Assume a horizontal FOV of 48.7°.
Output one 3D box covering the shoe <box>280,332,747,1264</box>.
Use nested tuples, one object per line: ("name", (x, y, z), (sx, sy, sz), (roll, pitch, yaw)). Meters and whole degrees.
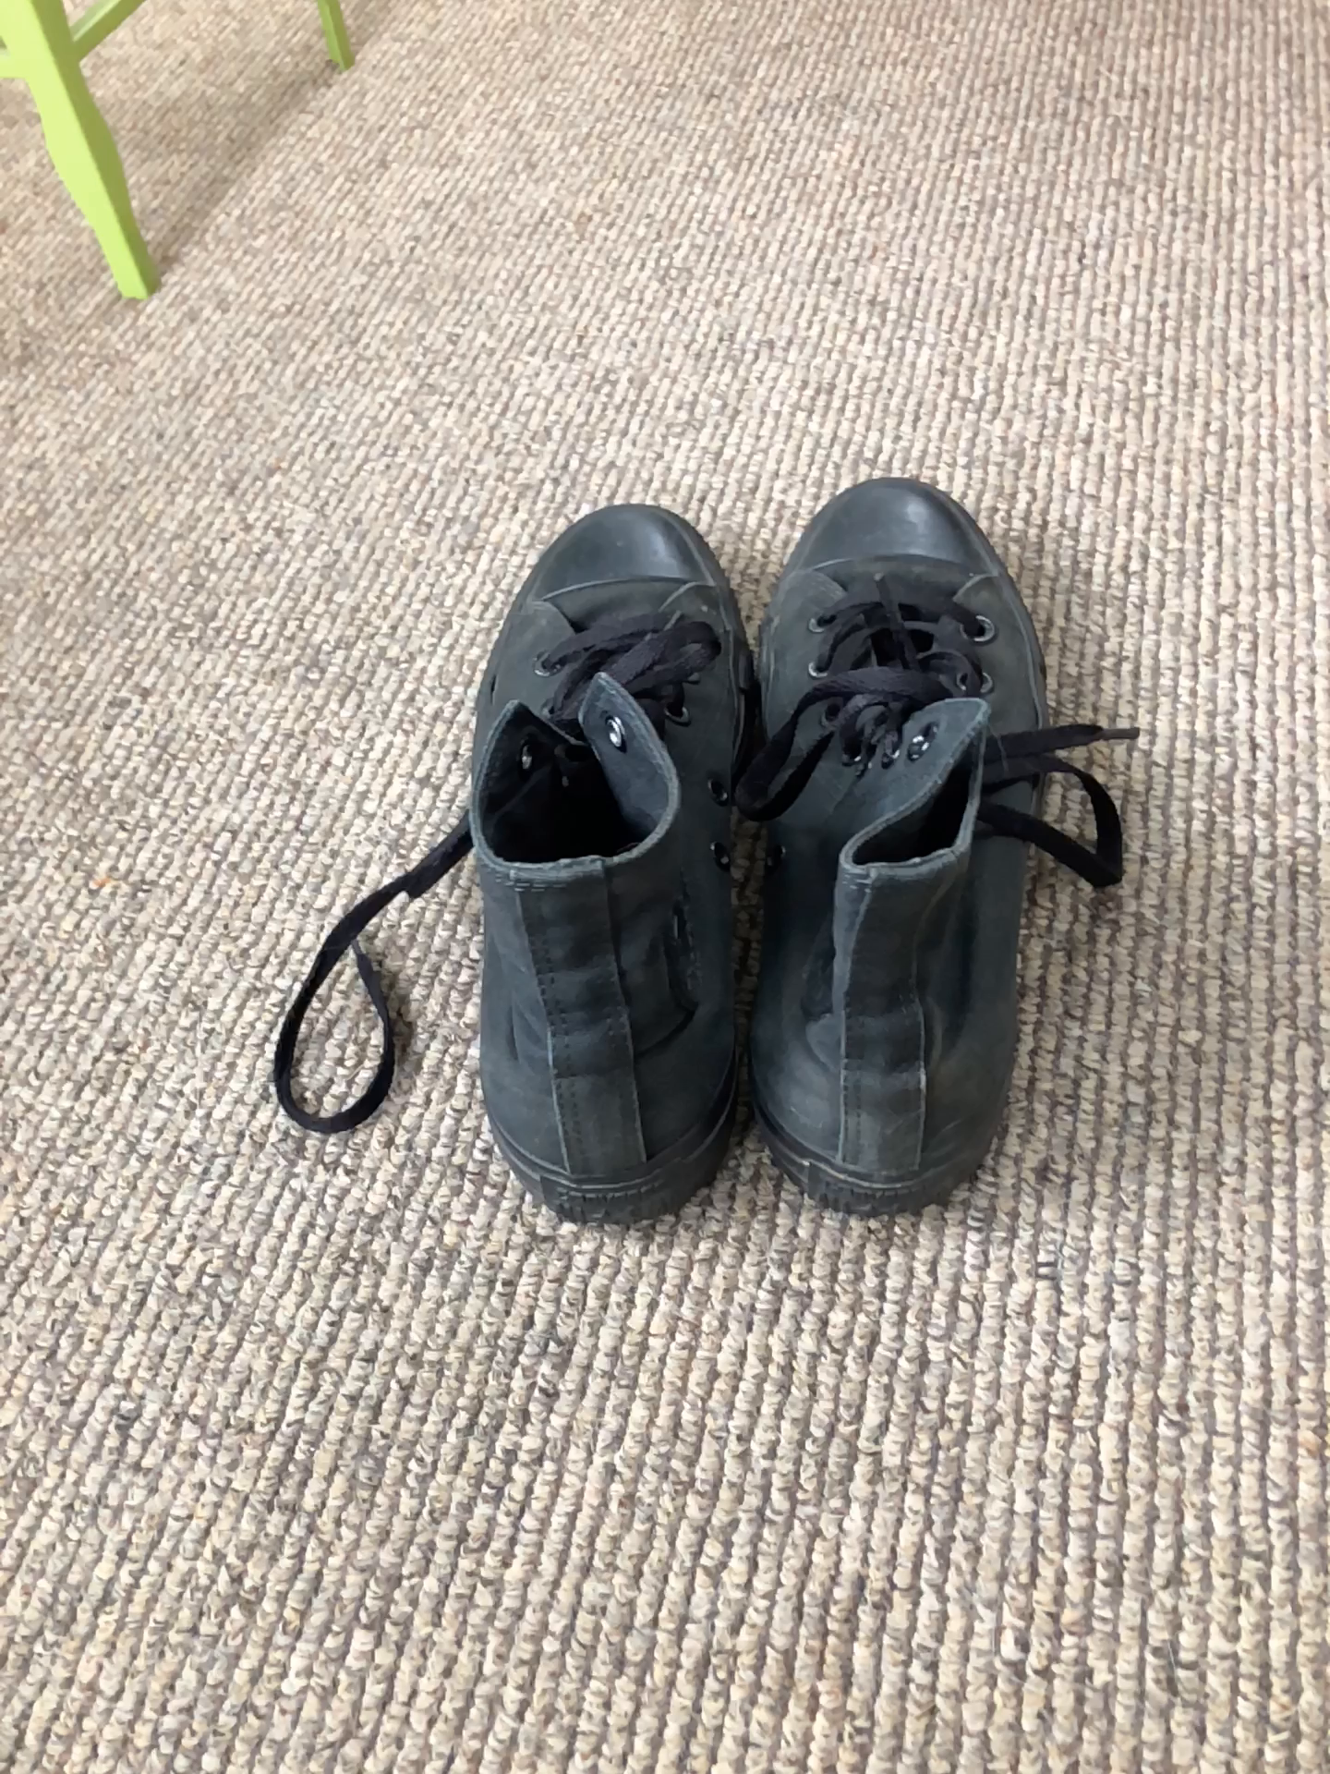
("shoe", (-0.025, -0.031, 0.417), (0.088, 0.126, 0.237), (-2, 52, 5))

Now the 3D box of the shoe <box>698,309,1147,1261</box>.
("shoe", (0.066, -0.037, 0.418), (0.088, 0.126, 0.245), (0, 52, 7))
